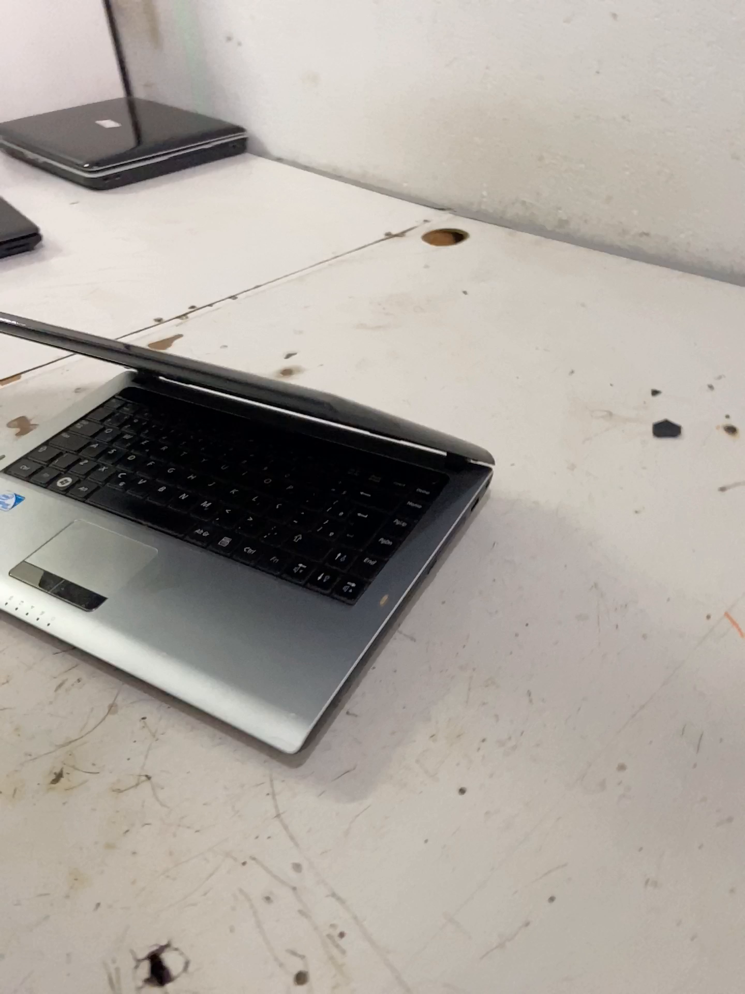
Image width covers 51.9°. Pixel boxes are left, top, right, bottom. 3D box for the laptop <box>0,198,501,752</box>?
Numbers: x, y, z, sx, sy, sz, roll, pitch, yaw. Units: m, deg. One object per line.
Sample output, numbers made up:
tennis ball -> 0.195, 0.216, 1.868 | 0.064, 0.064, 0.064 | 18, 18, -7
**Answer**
laptop -> -0.129, -0.051, 0.466 | 0.334, 0.152, 0.242 | 17, 43, 26
